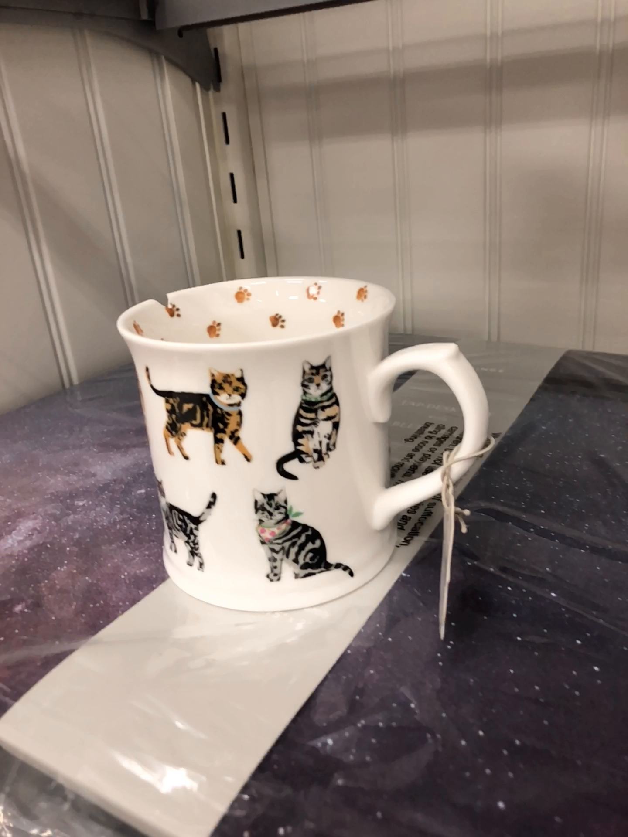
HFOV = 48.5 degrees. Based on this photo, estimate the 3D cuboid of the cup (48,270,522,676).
[{"bbox_3d":[-0.004,0.006,0.262,0.137,0.099,0.096,7,26,28],"label":"cup"}]
